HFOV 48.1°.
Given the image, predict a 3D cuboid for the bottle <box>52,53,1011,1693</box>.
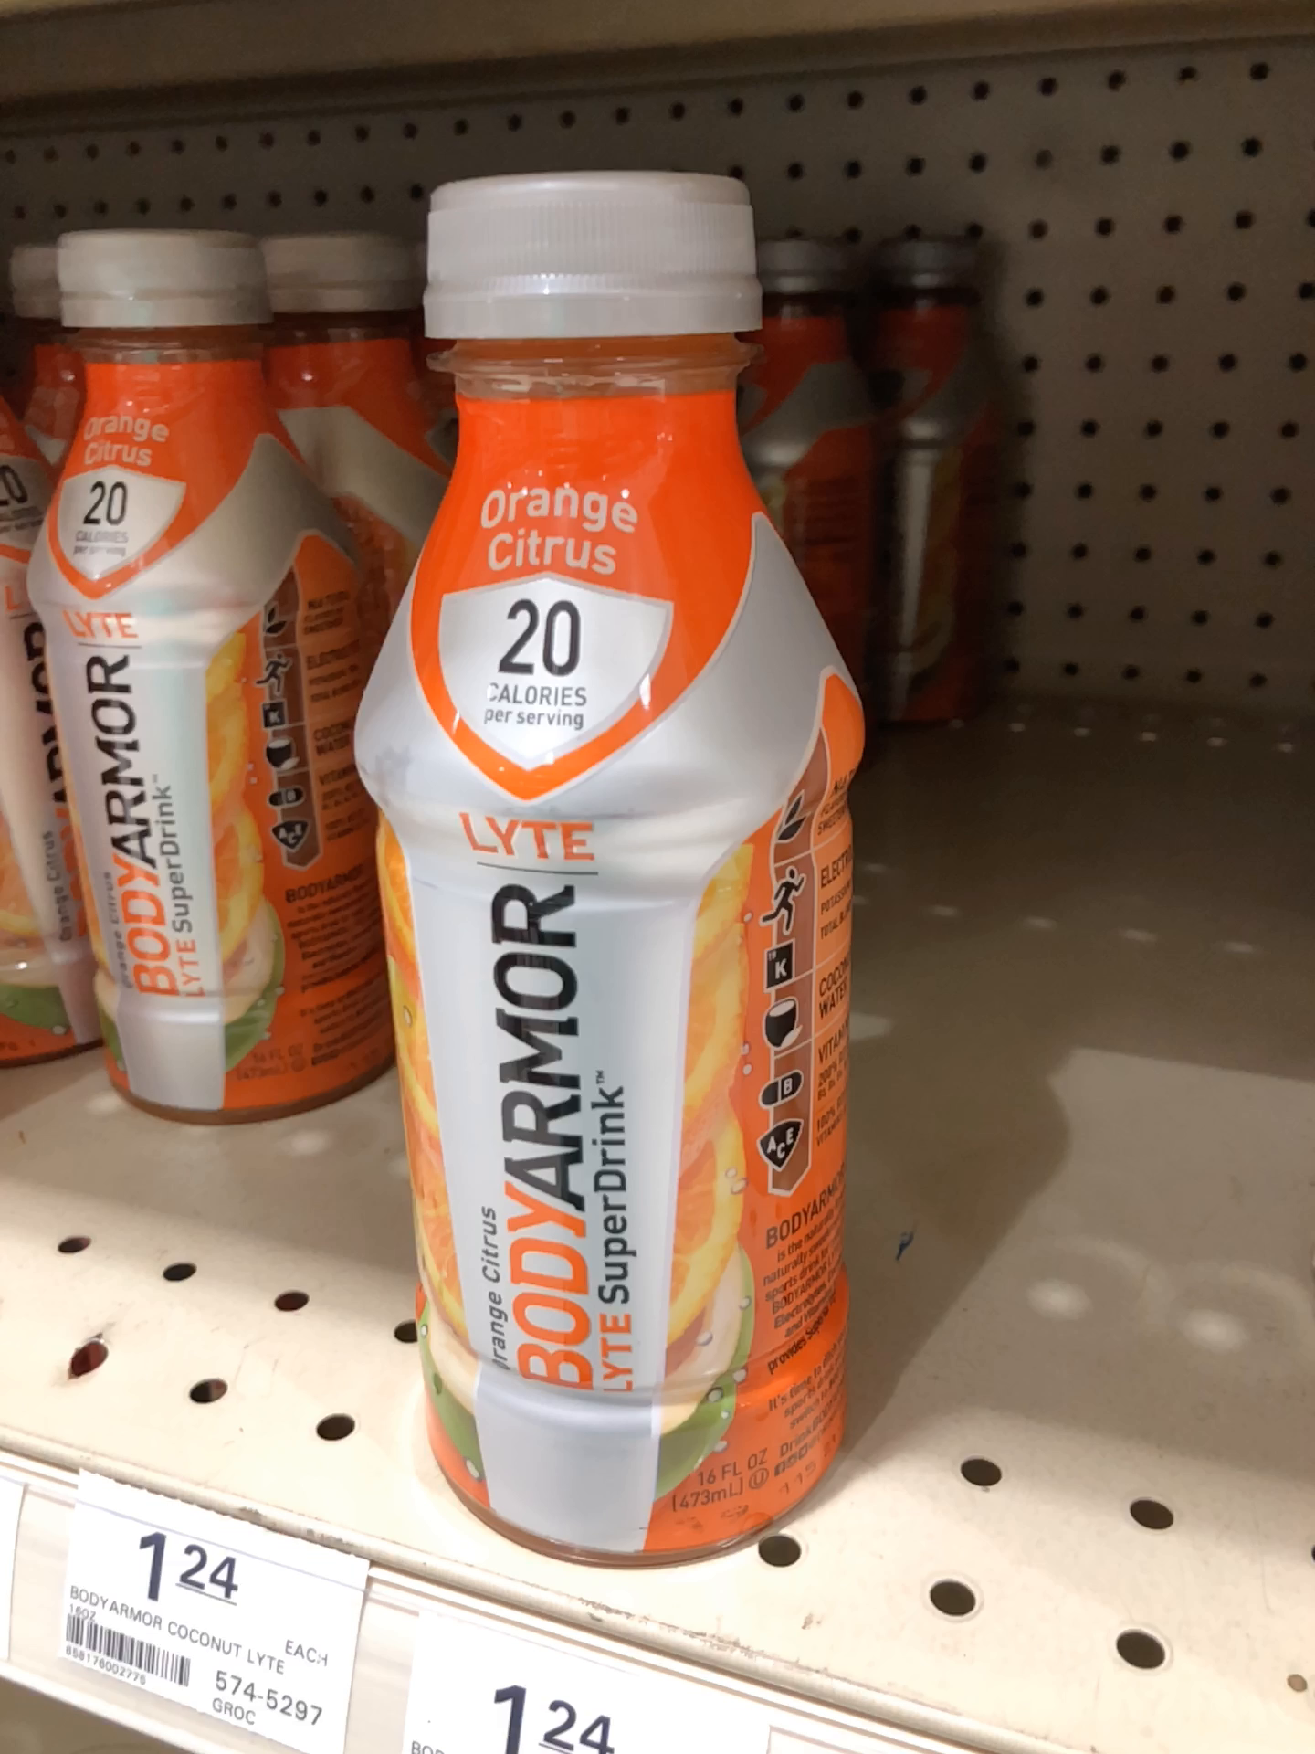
[{"bbox_3d":[-0.004,0.000,0.197,0.080,0.180,0.080,-2,23,1],"label":"bottle"}]
